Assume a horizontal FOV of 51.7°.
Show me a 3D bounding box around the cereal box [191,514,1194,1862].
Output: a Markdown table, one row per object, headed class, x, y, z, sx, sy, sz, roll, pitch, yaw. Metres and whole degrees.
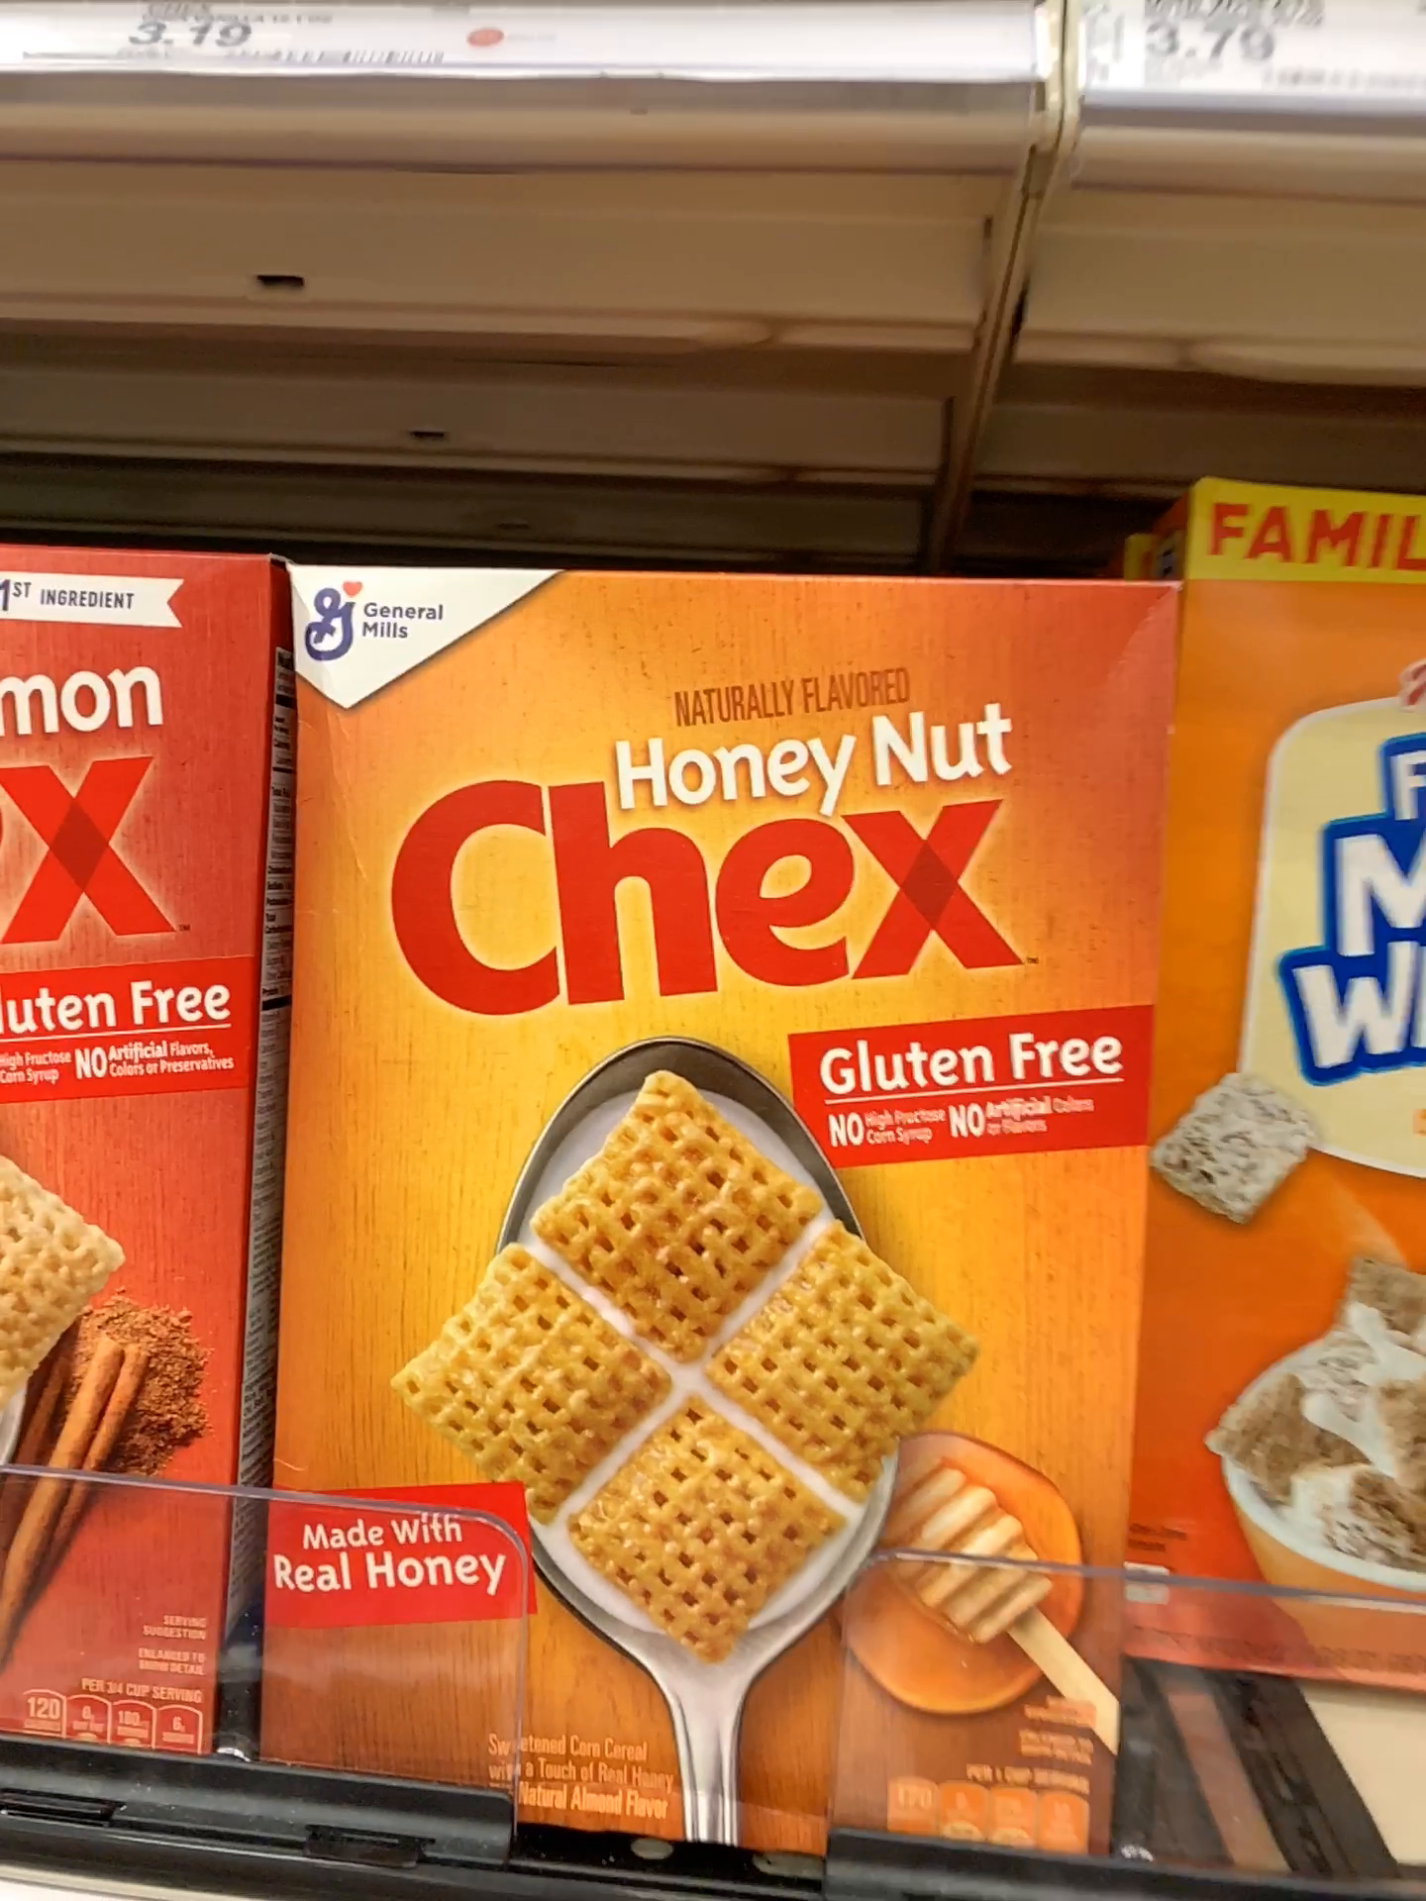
| class | x | y | z | sx | sy | sz | roll | pitch | yaw |
| --- | --- | --- | --- | --- | --- | --- | --- | --- | --- |
| cereal box | -0.008 | 0.051 | 0.346 | 0.200 | 0.280 | 0.060 | 4 | 5 | 3 |
